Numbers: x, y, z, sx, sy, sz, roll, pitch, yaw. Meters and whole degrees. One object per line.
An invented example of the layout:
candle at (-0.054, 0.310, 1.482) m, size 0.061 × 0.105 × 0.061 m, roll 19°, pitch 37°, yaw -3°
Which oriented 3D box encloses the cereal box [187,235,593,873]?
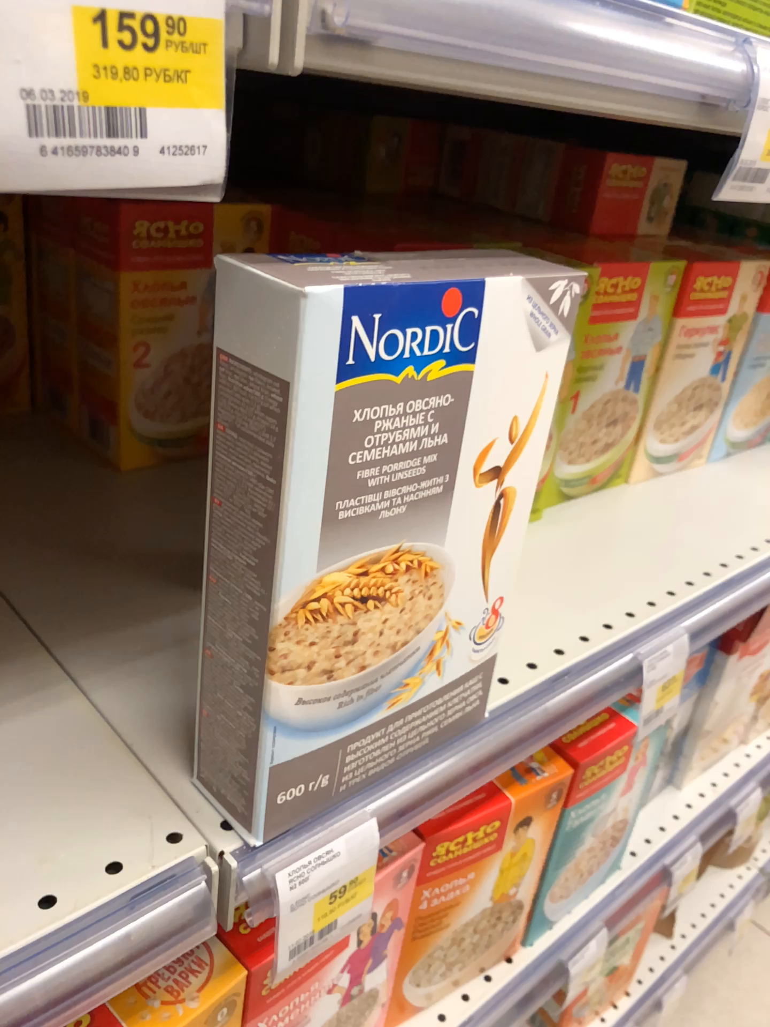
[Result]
cereal box at (-0.002, 0.012, 0.345) m, size 0.140 × 0.229 × 0.050 m, roll -17°, pitch 36°, yaw -42°
